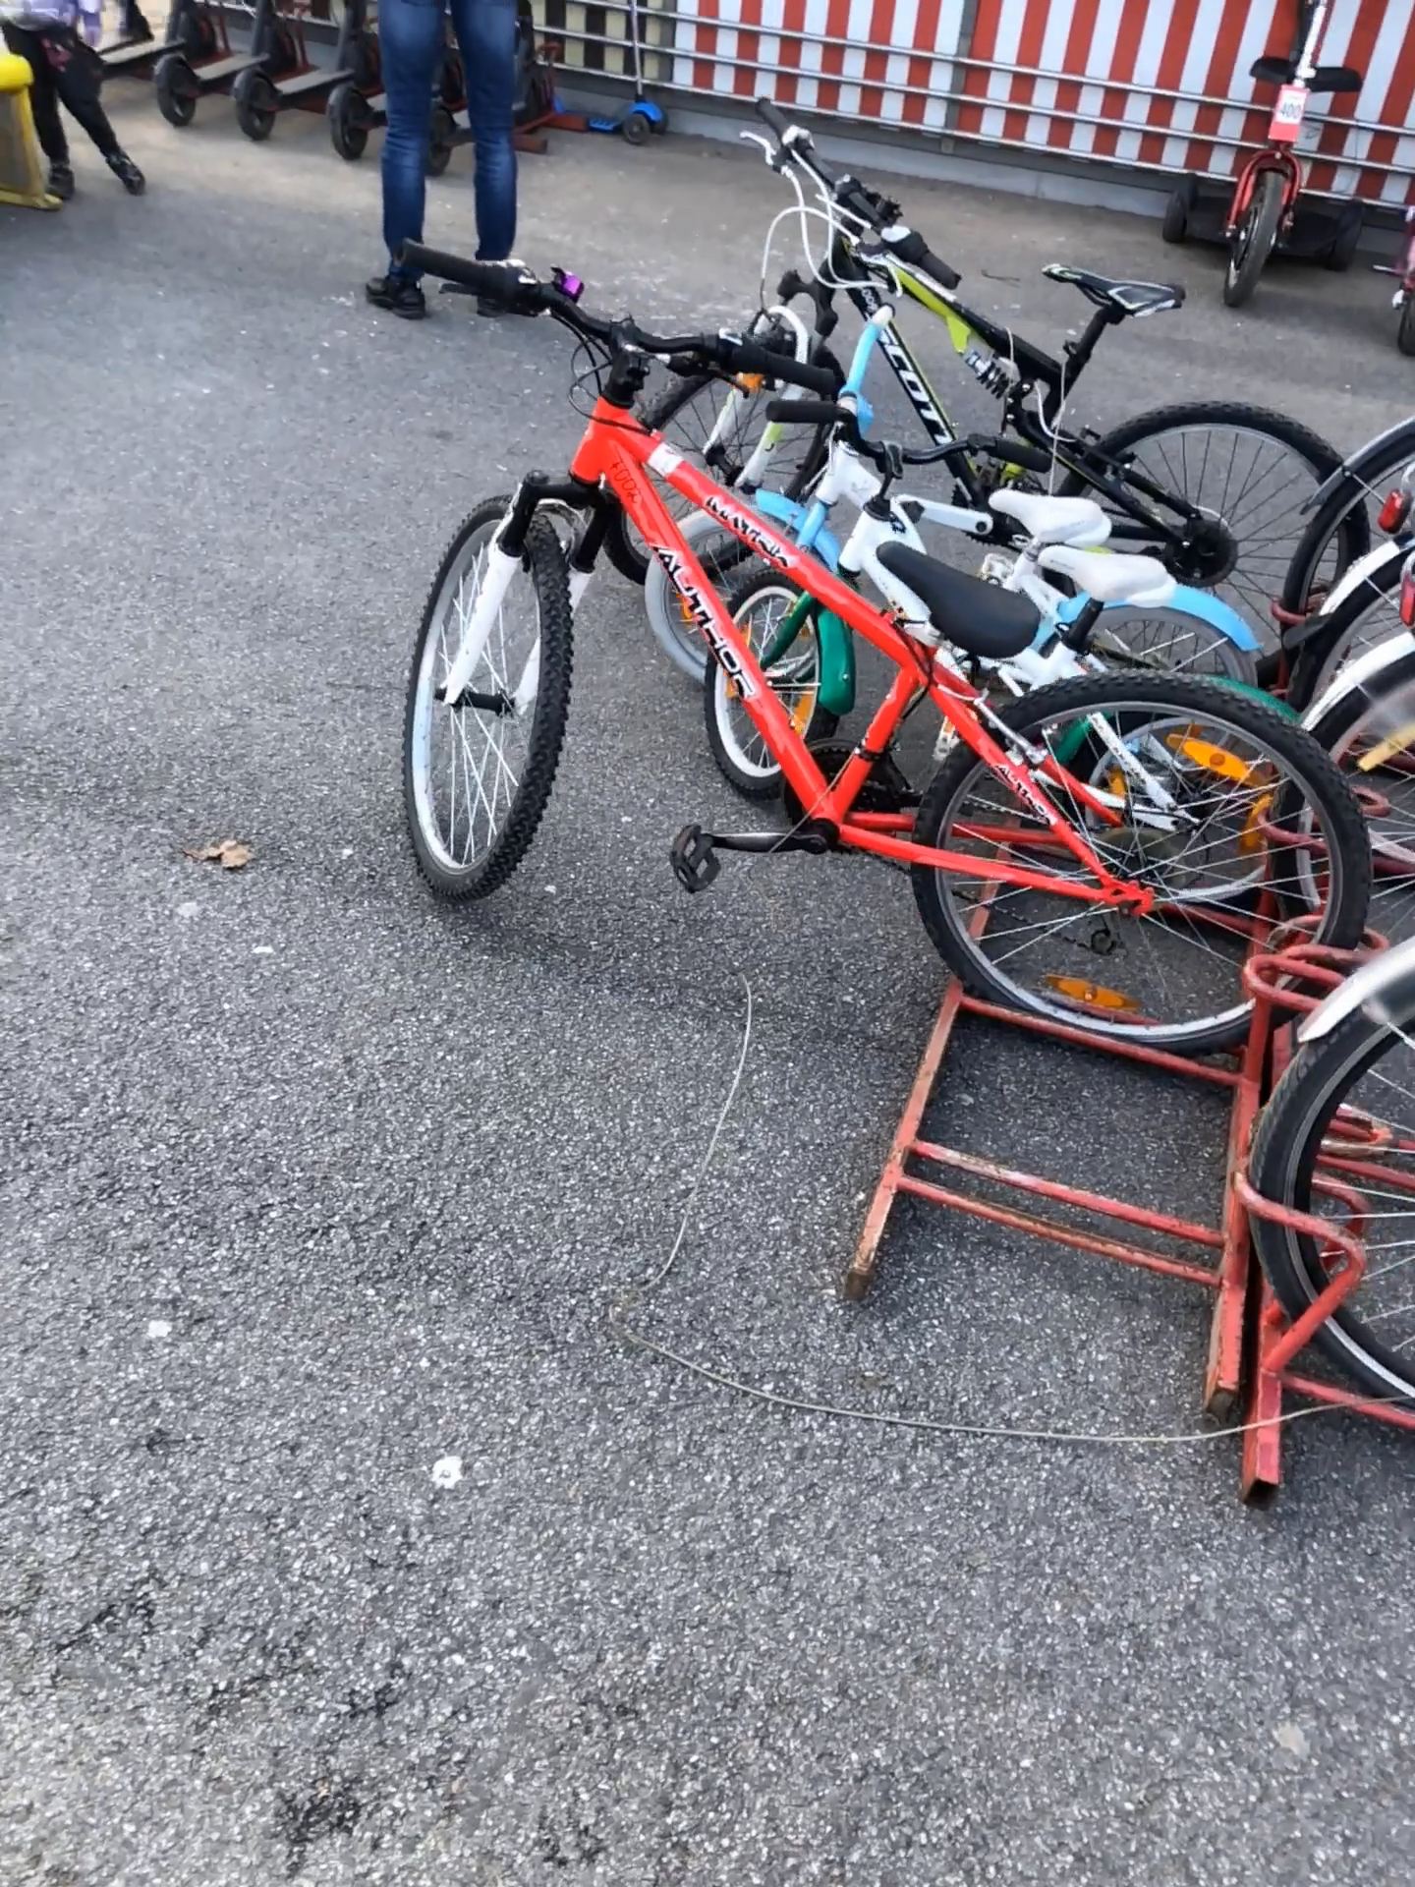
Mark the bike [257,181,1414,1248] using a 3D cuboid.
[{"bbox_3d":[0.179,-0.365,2.057,1.444,0.908,0.554,20,41,20],"label":"bike"}]
